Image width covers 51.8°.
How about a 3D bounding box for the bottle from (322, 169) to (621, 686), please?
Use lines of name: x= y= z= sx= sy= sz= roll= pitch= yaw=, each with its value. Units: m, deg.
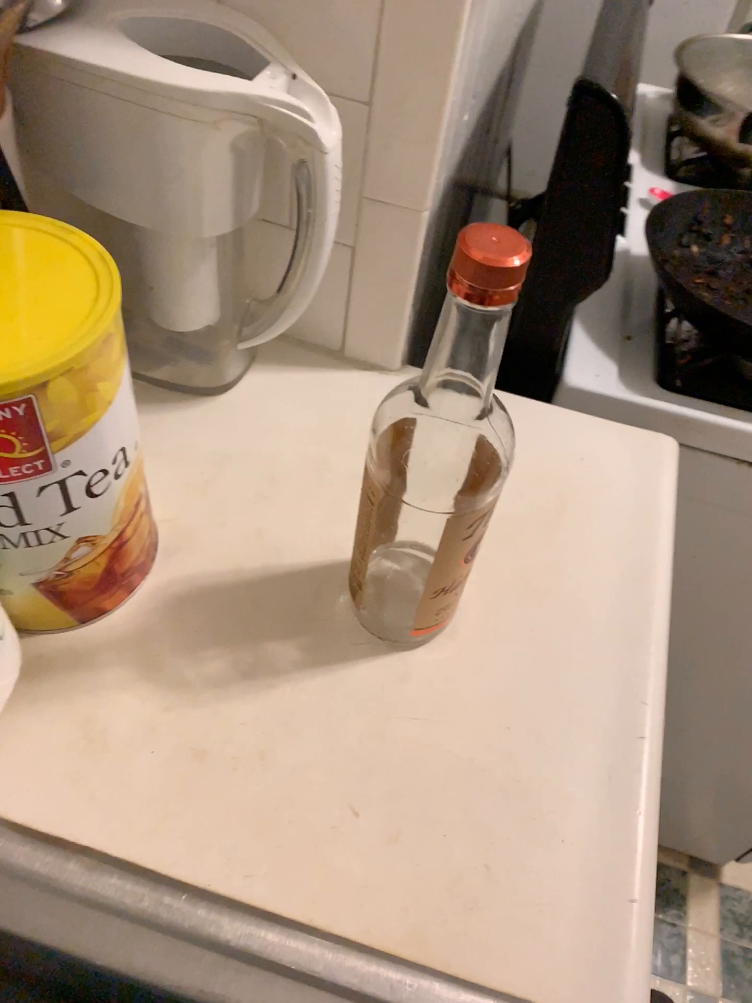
bottle: x=0.034 y=-0.014 z=0.422 sx=0.080 sy=0.289 sz=0.080 roll=4 pitch=51 yaw=-5
